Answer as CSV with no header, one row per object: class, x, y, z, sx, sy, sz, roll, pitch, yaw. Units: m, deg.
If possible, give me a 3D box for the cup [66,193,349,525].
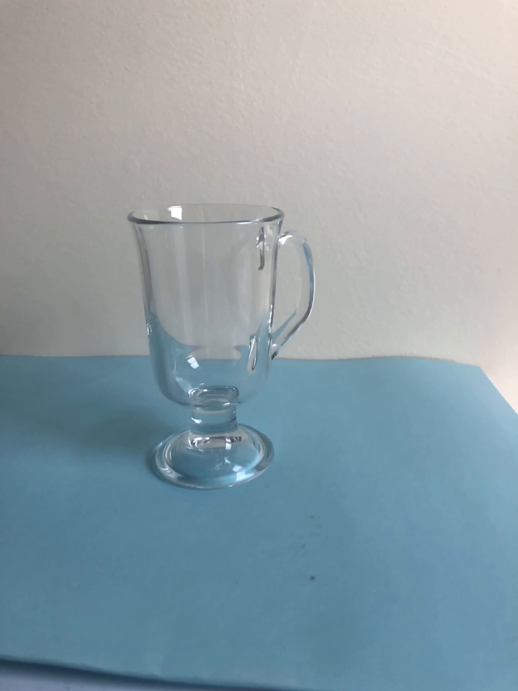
cup,-0.022,-0.003,0.267,0.100,0.119,0.070,-14,23,-31
